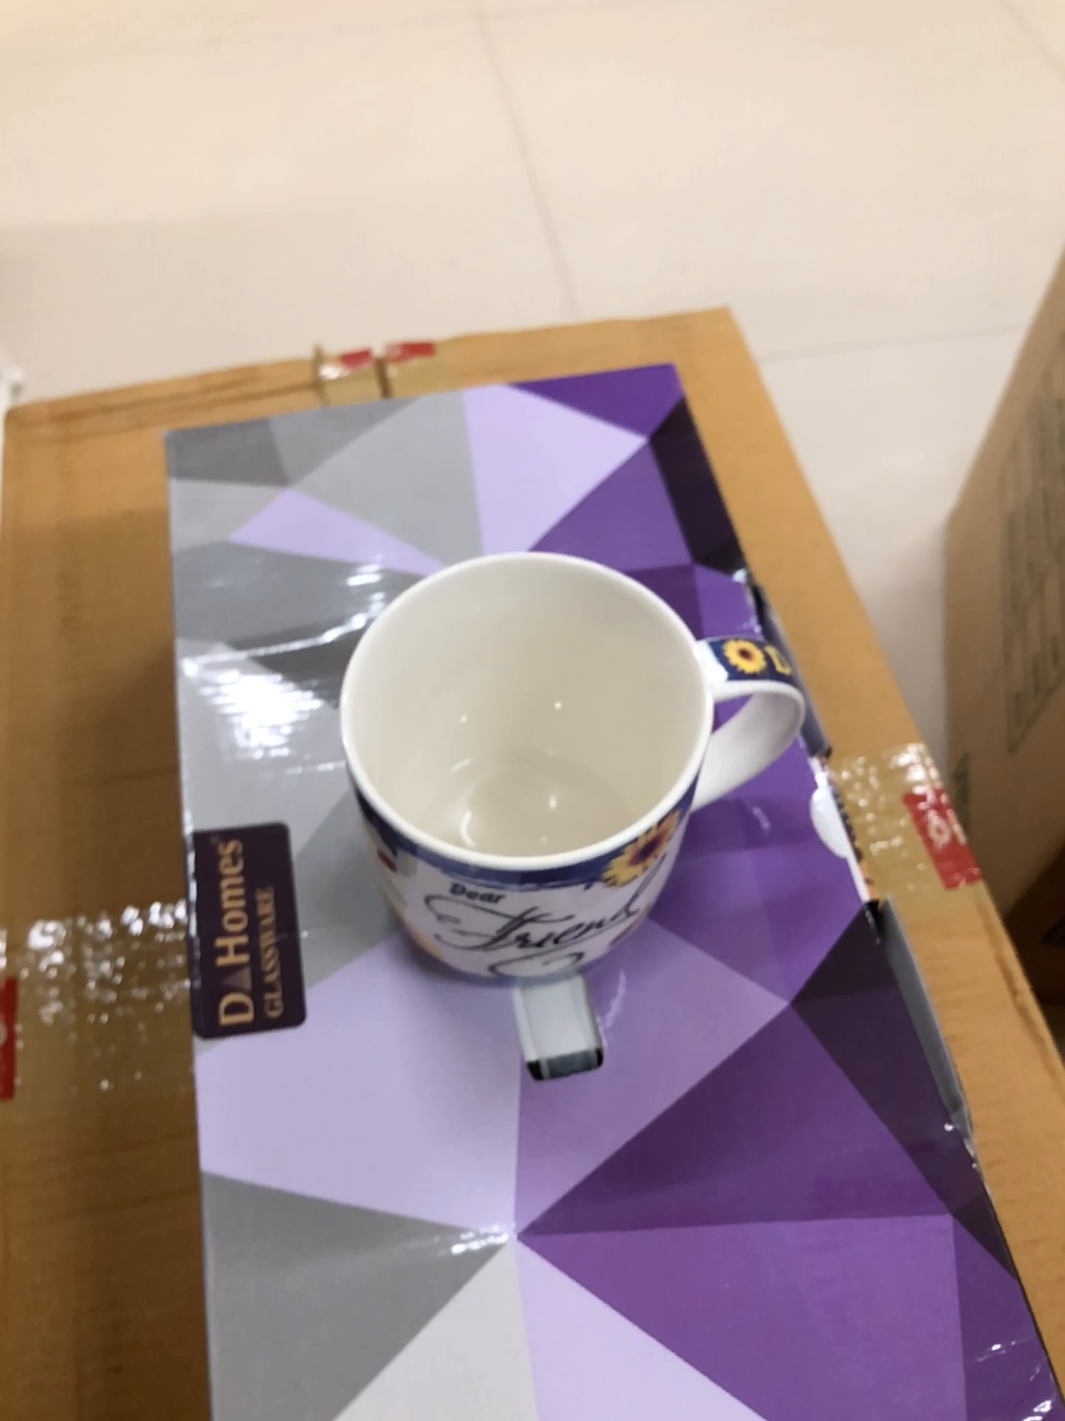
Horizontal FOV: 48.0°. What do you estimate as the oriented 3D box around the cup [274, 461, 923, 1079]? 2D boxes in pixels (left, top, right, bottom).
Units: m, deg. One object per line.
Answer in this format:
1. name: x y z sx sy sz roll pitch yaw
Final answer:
1. cup: 0.014 0.016 0.303 0.120 0.090 0.080 -26 62 -16
